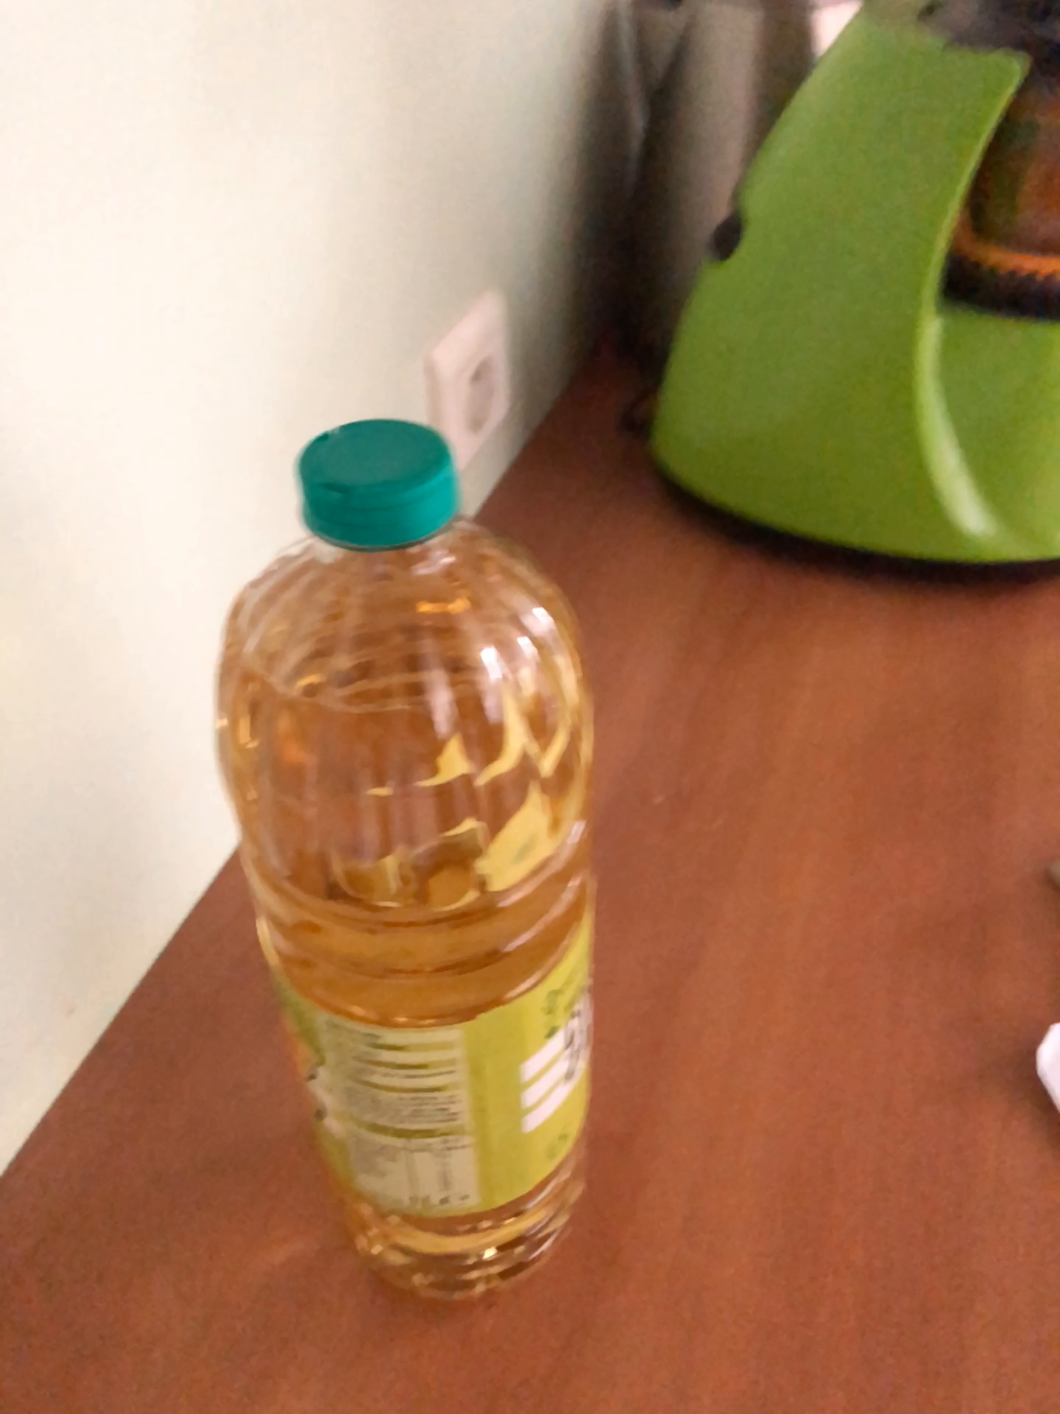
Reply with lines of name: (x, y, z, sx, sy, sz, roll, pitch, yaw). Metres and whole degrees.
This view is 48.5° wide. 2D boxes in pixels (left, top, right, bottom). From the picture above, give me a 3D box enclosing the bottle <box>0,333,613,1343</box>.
bottle: (-0.034, 0.055, 0.299, 0.090, 0.268, 0.091, 0, 42, 0)
